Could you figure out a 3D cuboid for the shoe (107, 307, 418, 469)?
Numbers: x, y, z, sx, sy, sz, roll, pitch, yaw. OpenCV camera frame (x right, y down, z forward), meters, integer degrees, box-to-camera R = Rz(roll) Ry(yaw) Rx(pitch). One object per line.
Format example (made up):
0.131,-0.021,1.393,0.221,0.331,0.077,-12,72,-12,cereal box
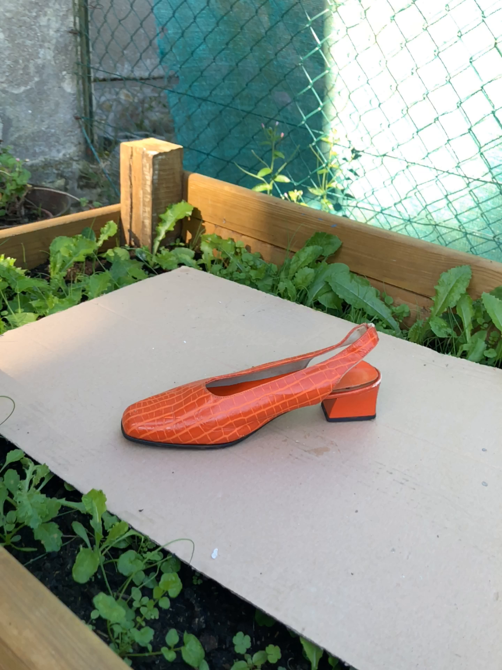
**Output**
0.005,0.042,0.508,0.260,0.089,0.090,-4,31,-14,shoe
